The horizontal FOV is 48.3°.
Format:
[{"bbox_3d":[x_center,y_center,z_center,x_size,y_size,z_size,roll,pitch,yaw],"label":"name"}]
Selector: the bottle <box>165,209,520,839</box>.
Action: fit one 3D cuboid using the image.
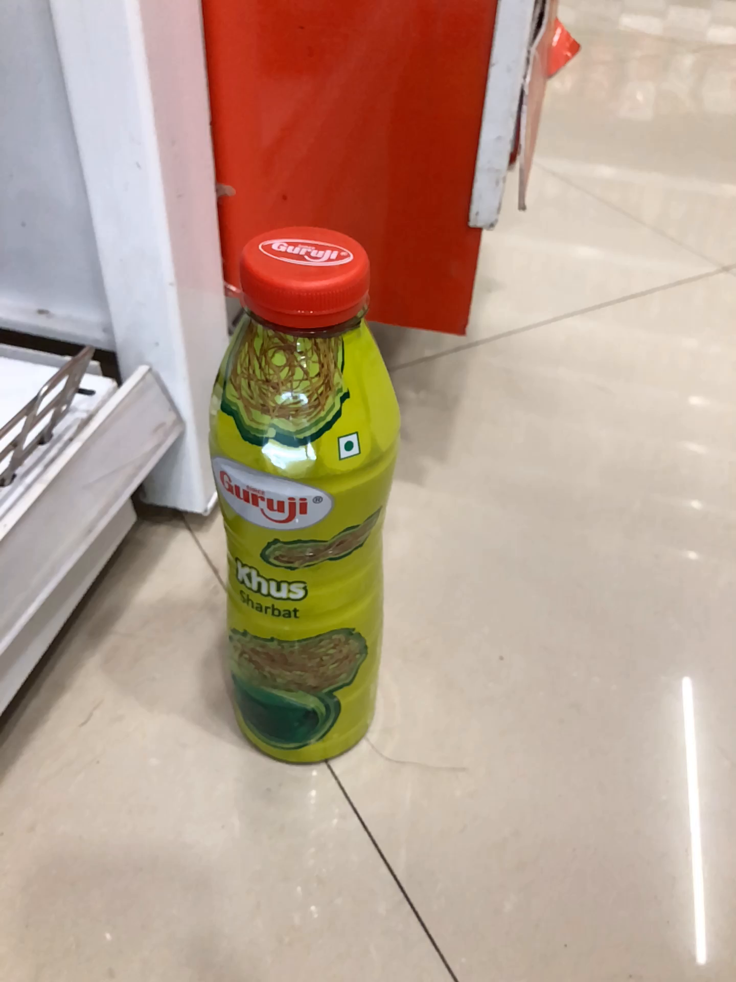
[{"bbox_3d":[0.000,0.026,0.324,0.080,0.238,0.081,-2,39,1],"label":"bottle"}]
